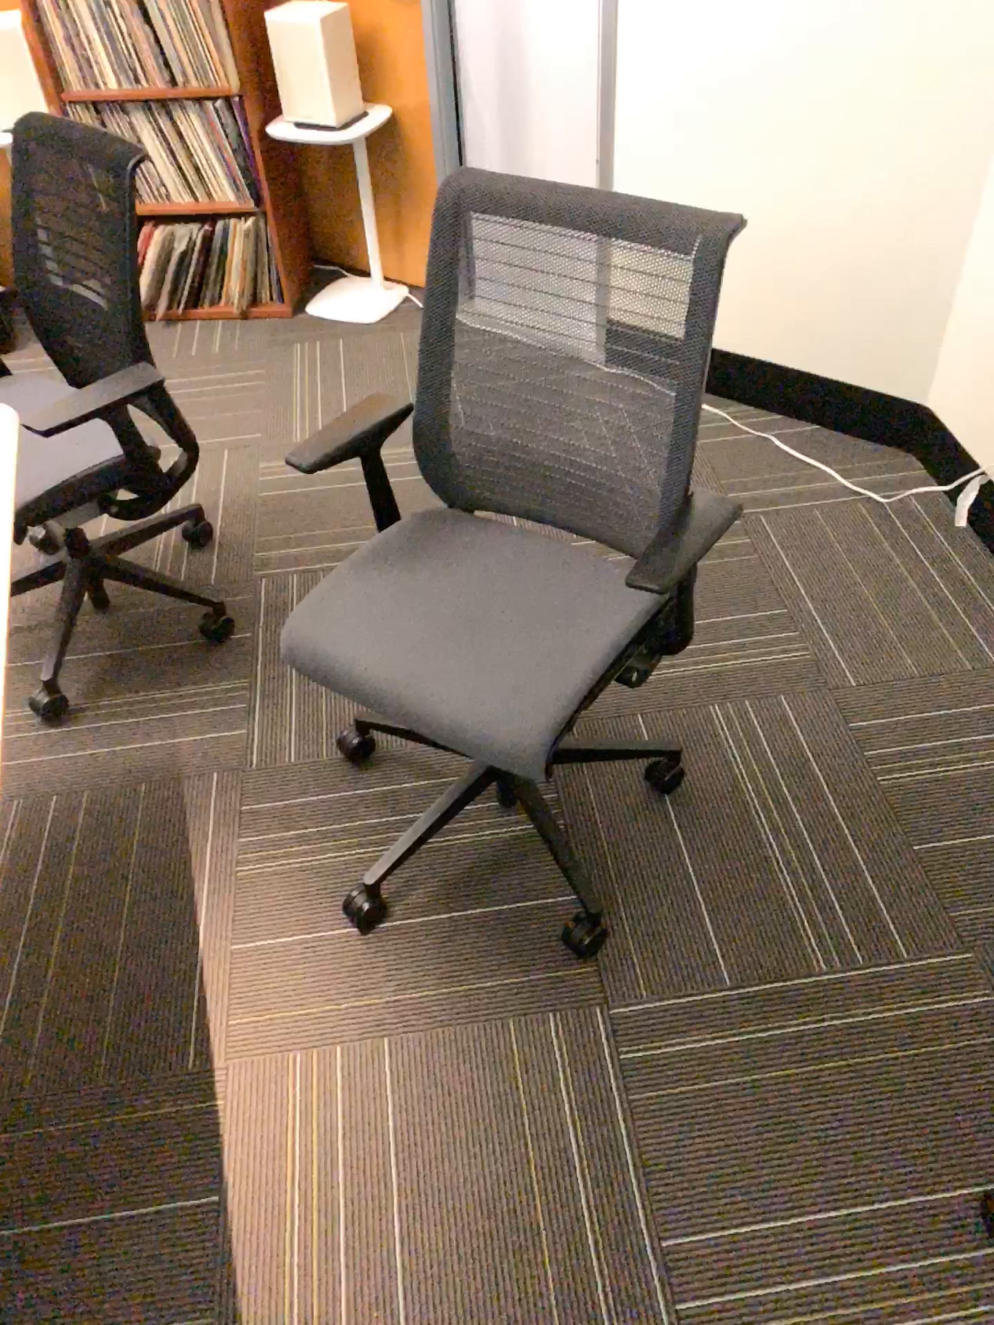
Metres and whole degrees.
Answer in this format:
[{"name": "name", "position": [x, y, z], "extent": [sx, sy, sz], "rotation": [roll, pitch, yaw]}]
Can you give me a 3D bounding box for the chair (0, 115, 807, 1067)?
[{"name": "chair", "position": [-0.100, -0.117, 1.648], "extent": [0.792, 1.113, 0.802], "rotation": [20, 50, 23]}]
